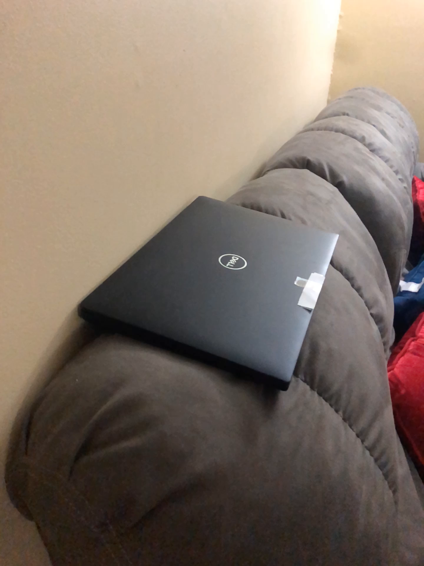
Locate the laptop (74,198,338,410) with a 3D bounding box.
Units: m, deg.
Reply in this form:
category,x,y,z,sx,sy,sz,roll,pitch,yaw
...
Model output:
category,x,y,z,sx,sy,sz,roll,pitch,yaw
laptop,0.024,-0.007,0.570,0.214,0.030,0.326,18,34,12
